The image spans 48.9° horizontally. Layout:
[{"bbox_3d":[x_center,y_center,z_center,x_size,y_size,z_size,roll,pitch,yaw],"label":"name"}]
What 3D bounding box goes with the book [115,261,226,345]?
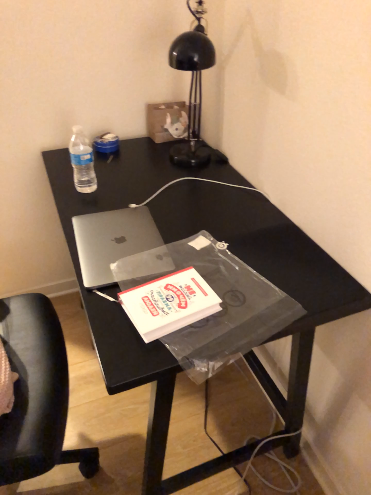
[{"bbox_3d":[-0.033,0.110,0.868,0.190,0.030,0.141,-20,42,-24],"label":"book"}]
